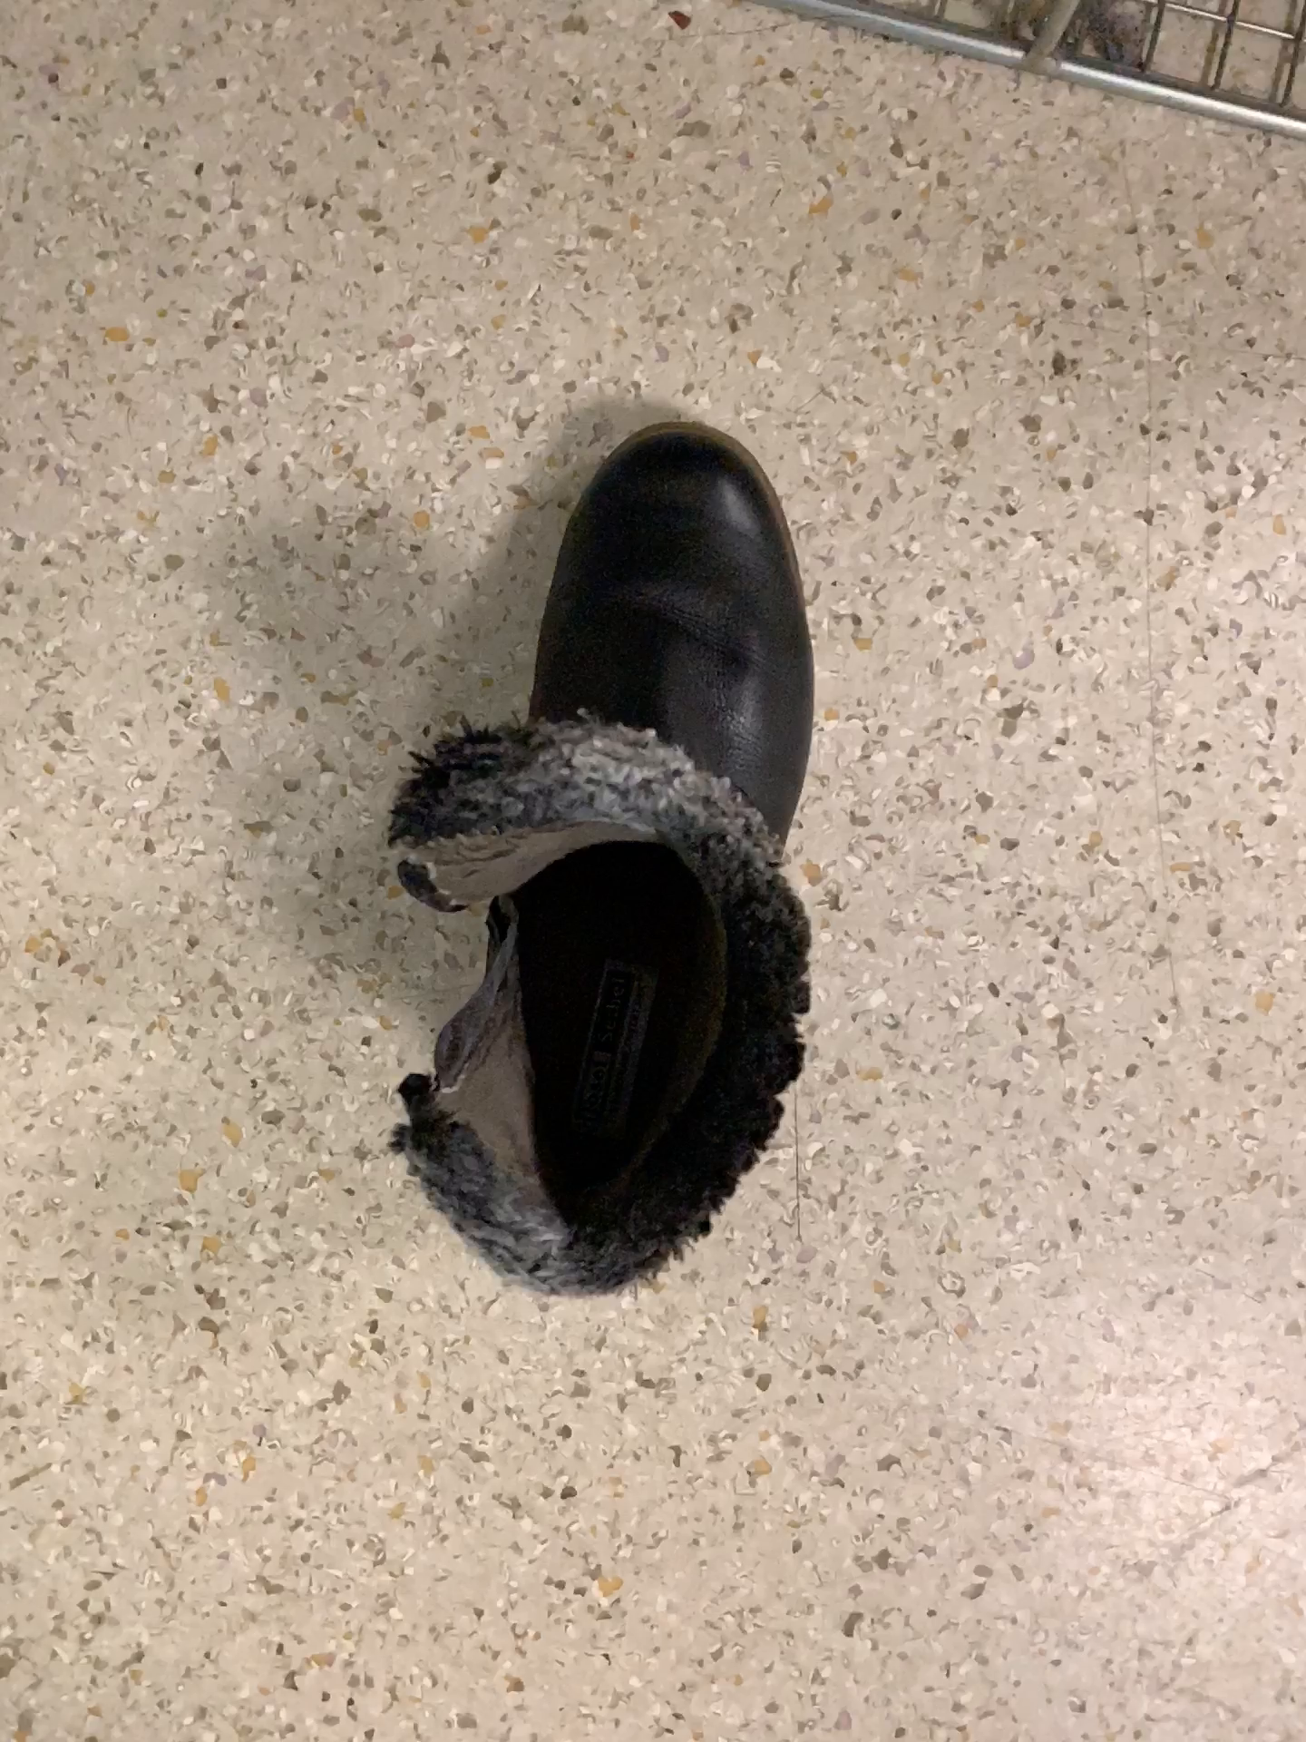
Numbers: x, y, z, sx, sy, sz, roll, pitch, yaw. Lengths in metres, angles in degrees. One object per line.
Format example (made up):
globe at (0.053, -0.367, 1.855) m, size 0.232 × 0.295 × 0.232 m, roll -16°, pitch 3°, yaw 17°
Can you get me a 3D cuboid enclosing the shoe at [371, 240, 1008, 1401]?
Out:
shoe at (0.006, -0.010, 0.371) m, size 0.104 × 0.169 × 0.236 m, roll 8°, pitch 89°, yaw -2°
